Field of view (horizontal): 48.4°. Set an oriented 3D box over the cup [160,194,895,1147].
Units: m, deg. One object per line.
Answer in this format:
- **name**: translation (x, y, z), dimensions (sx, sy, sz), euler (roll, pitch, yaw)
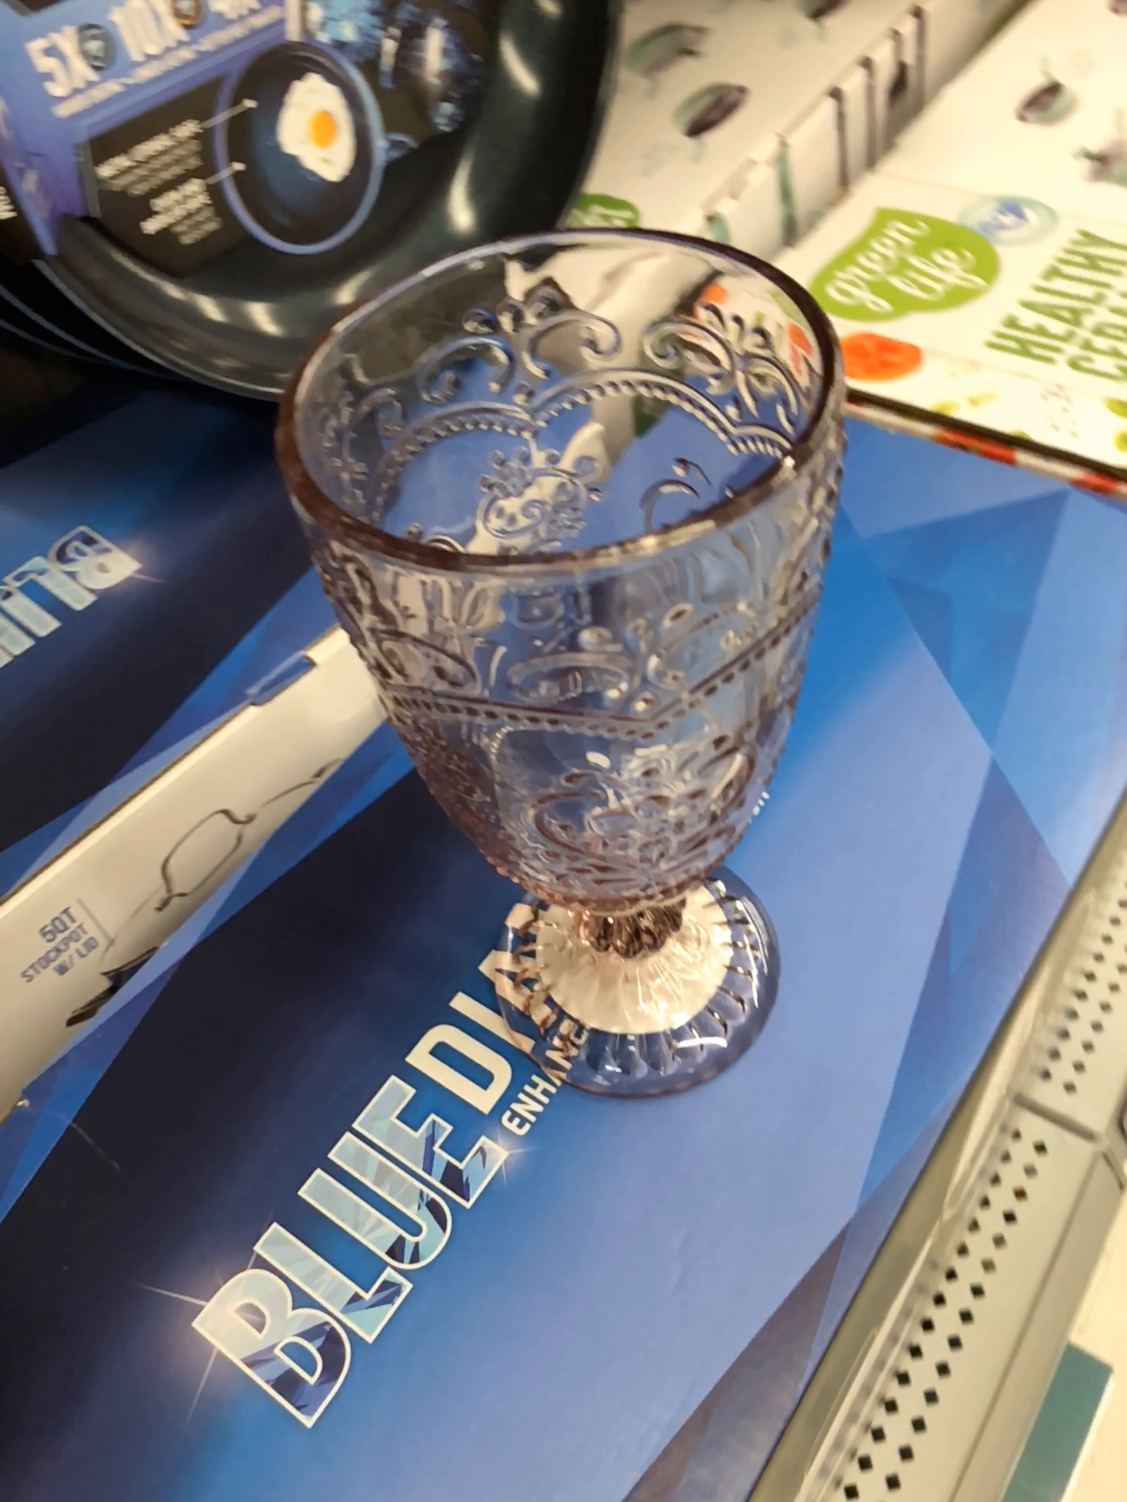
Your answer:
- **cup**: translation (0.010, -0.005, 0.248), dimensions (0.086, 0.168, 0.089), euler (-5, 51, 6)
